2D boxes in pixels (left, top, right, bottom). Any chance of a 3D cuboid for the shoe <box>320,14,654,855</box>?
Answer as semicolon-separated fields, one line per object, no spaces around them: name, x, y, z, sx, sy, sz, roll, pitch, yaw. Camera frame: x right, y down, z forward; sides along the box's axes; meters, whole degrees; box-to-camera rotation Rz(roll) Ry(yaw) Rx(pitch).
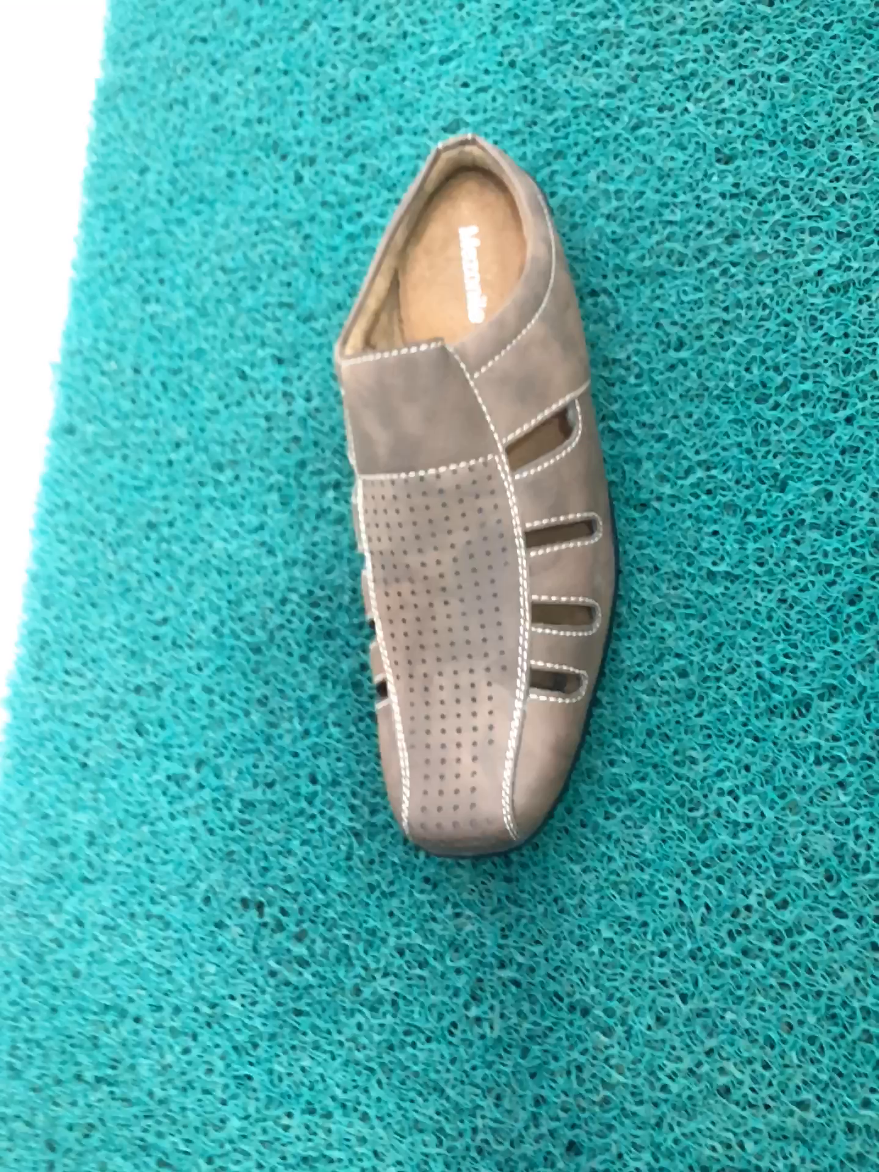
shoe;0.014;-0.053;0.365;0.090;0.070;0.290;-9;74;22
